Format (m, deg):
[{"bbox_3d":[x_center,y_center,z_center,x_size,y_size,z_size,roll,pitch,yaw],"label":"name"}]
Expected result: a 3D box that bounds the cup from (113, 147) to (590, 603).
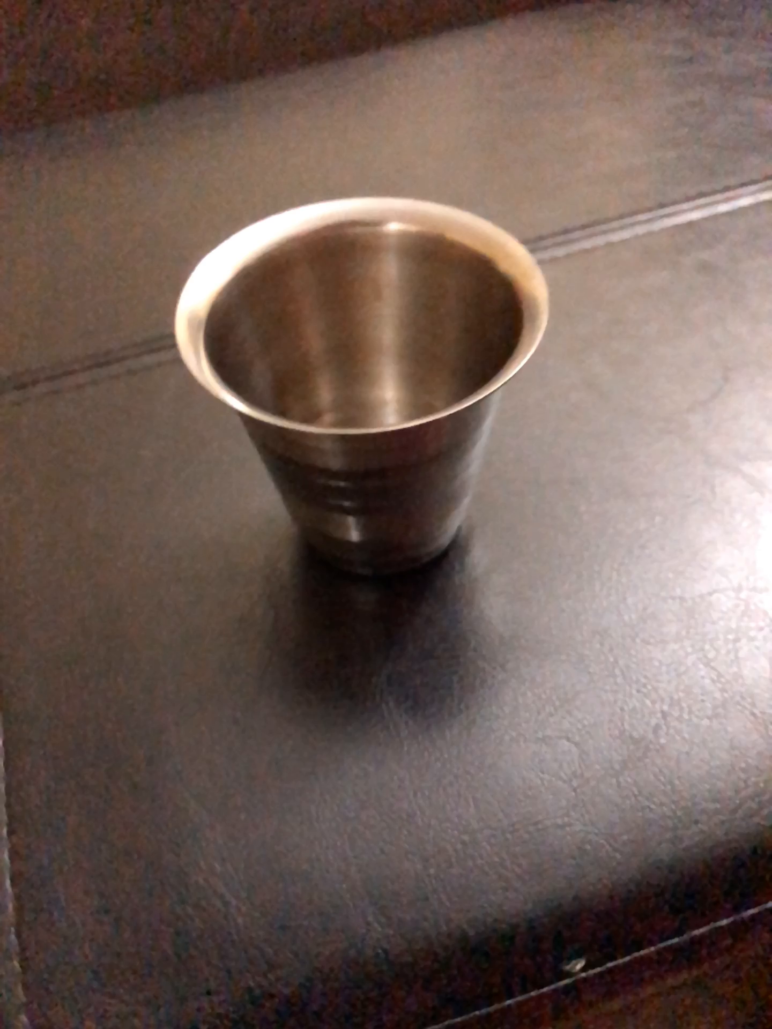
[{"bbox_3d":[-0.005,-0.028,0.176,0.074,0.052,0.067,-3,50,4],"label":"cup"}]
